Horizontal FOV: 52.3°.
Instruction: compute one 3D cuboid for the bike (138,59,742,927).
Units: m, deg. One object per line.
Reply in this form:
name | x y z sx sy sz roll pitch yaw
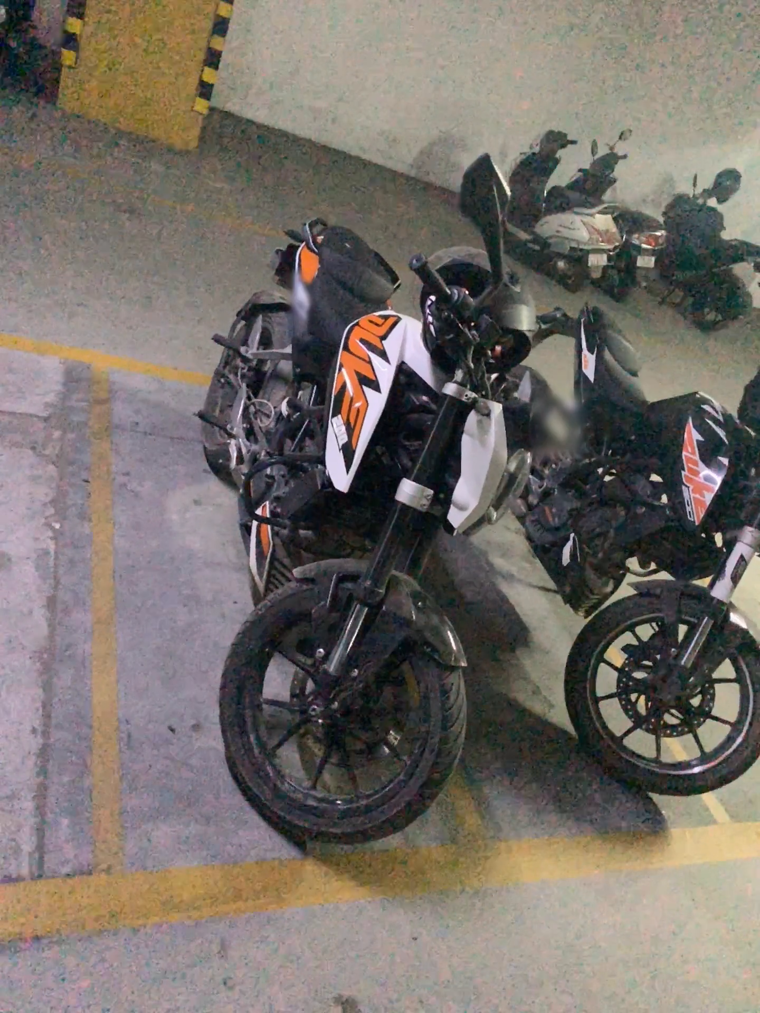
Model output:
bike | -0.127 -0.192 2.194 0.804 1.181 1.919 8 39 -27
